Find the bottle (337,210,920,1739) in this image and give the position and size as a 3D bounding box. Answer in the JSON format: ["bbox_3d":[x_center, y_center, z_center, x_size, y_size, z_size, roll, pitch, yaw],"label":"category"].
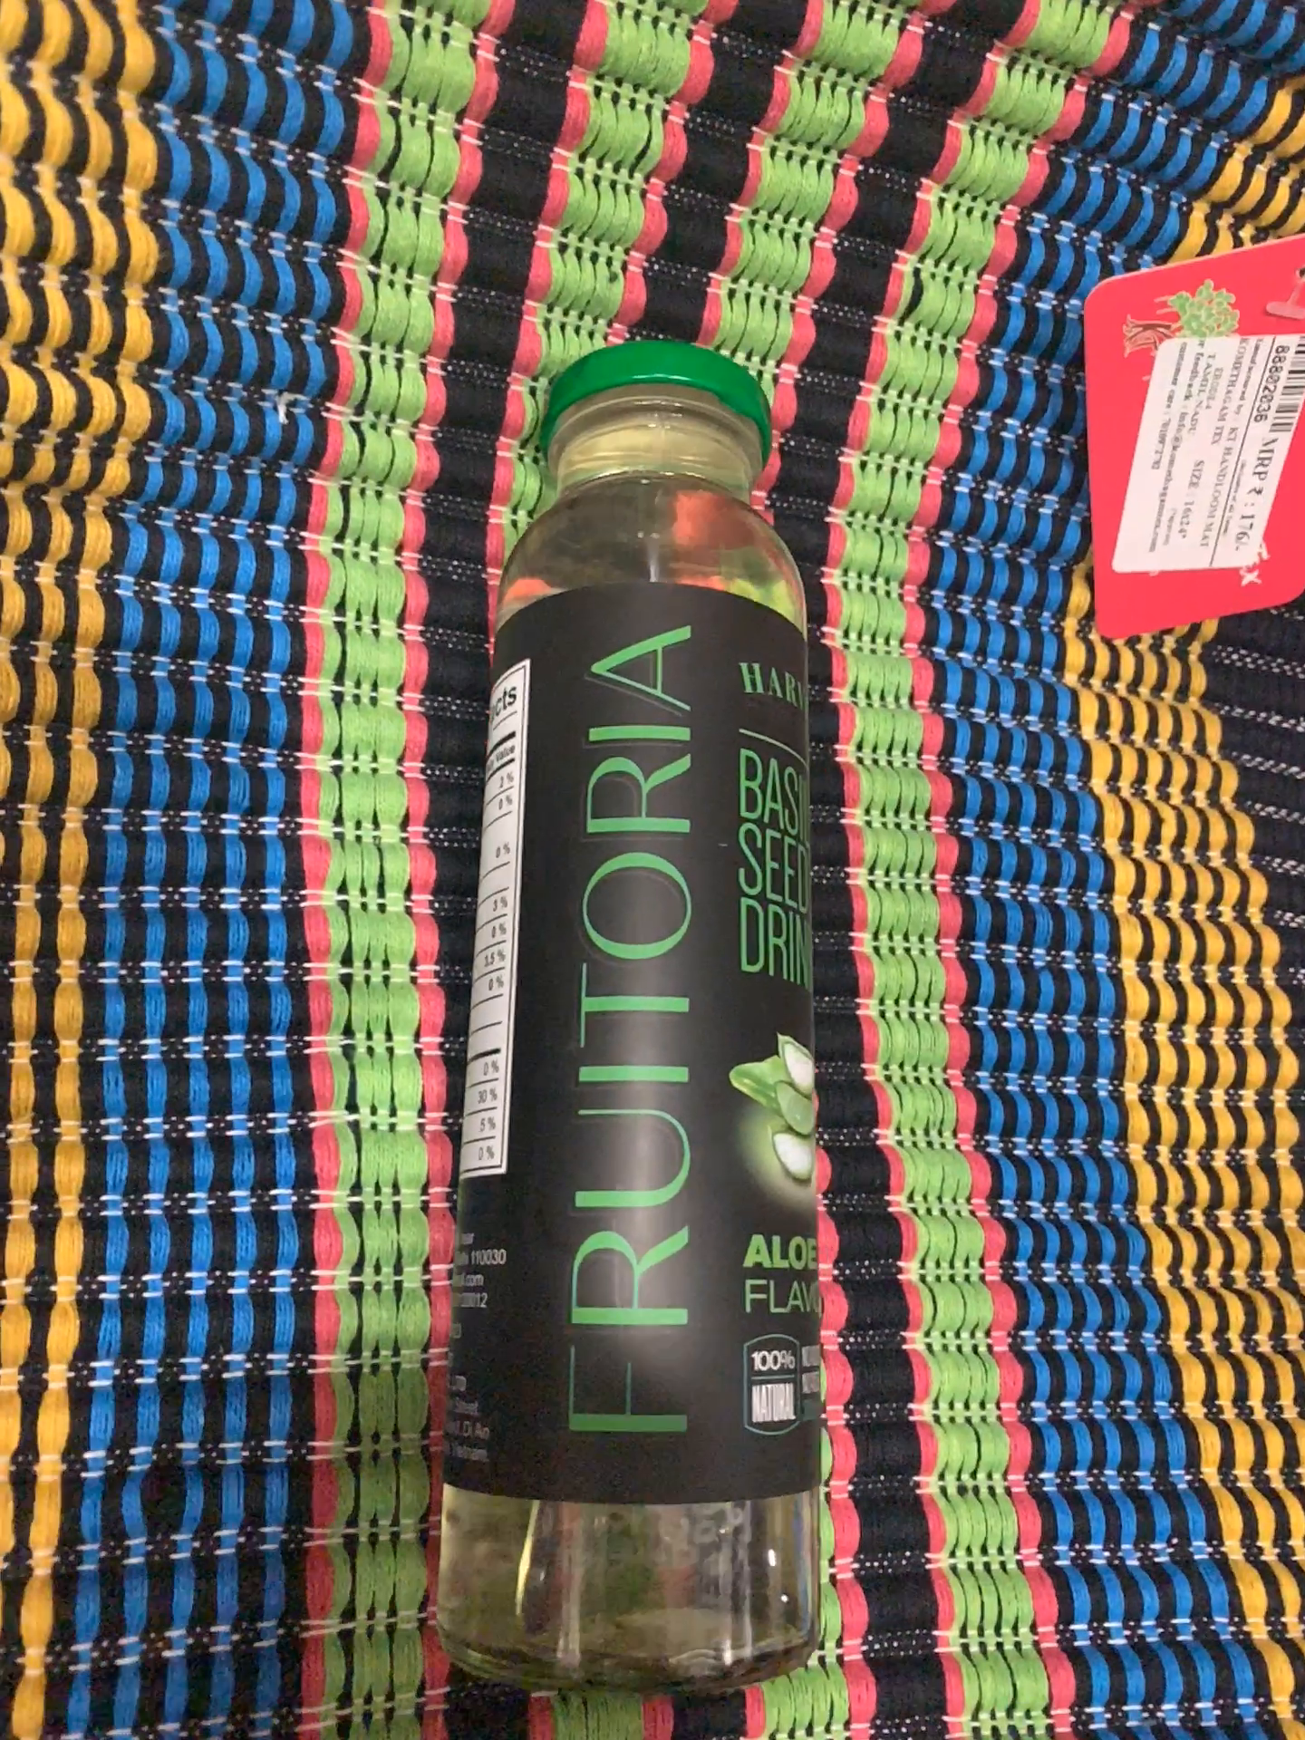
[{"bbox_3d":[0.002,0.012,0.204,0.050,0.060,0.200,22,67,-53],"label":"bottle"}]
